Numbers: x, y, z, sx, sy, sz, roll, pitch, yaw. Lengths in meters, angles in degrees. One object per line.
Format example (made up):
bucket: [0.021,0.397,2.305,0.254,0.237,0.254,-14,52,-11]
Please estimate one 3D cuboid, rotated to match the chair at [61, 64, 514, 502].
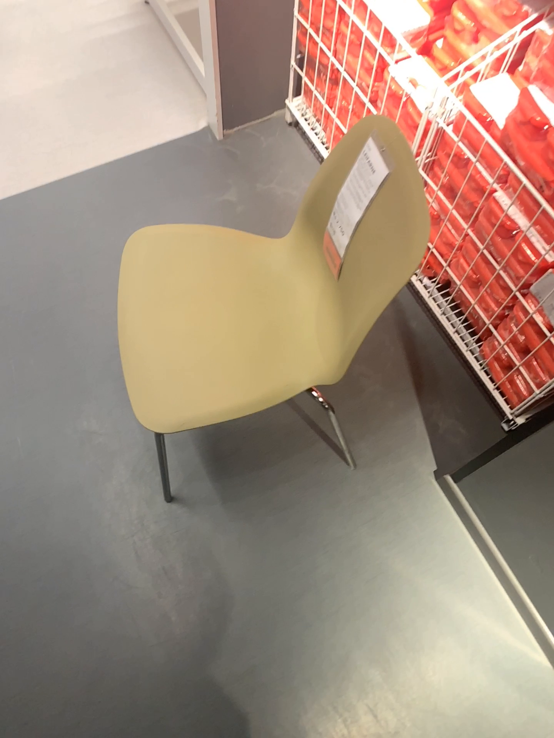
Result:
chair: [-0.024,-0.088,1.109,0.550,0.729,0.501,-6,67,-5]
